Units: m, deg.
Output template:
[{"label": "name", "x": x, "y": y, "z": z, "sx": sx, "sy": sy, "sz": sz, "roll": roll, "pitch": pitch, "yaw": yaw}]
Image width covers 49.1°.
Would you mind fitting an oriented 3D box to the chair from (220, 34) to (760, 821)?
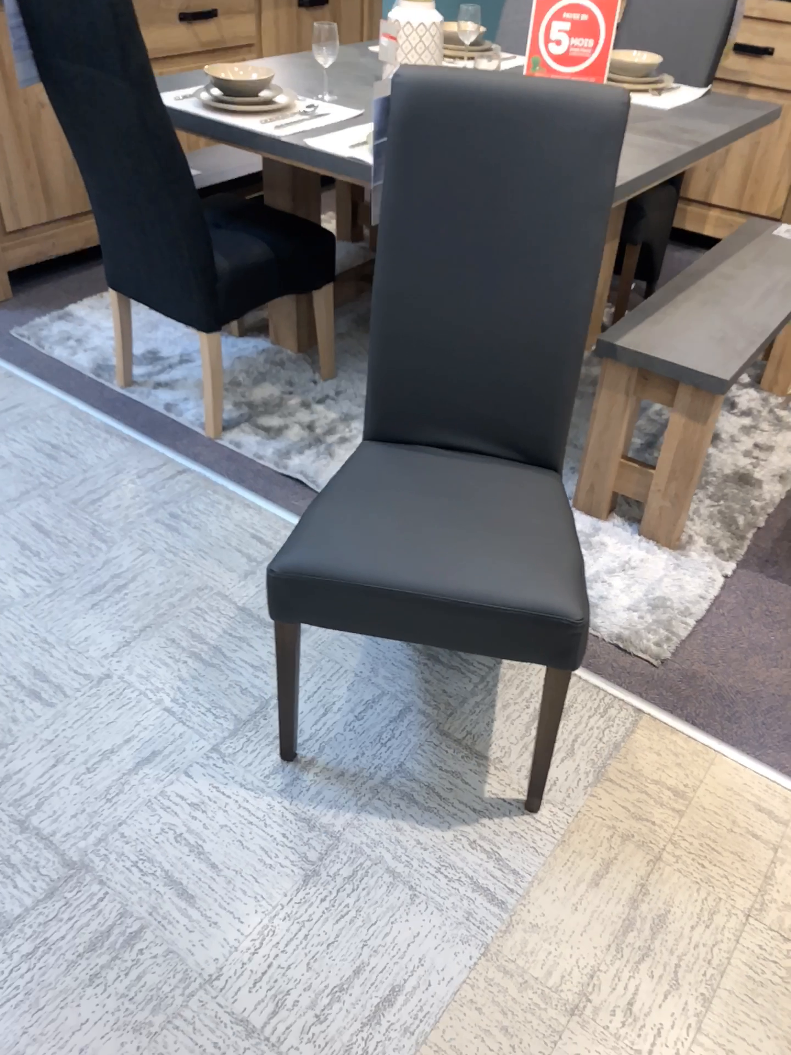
[{"label": "chair", "x": 0.107, "y": -0.134, "z": 1.361, "sx": 0.520, "sy": 1.014, "sz": 0.574, "roll": 9, "pitch": 38, "yaw": 7}]
